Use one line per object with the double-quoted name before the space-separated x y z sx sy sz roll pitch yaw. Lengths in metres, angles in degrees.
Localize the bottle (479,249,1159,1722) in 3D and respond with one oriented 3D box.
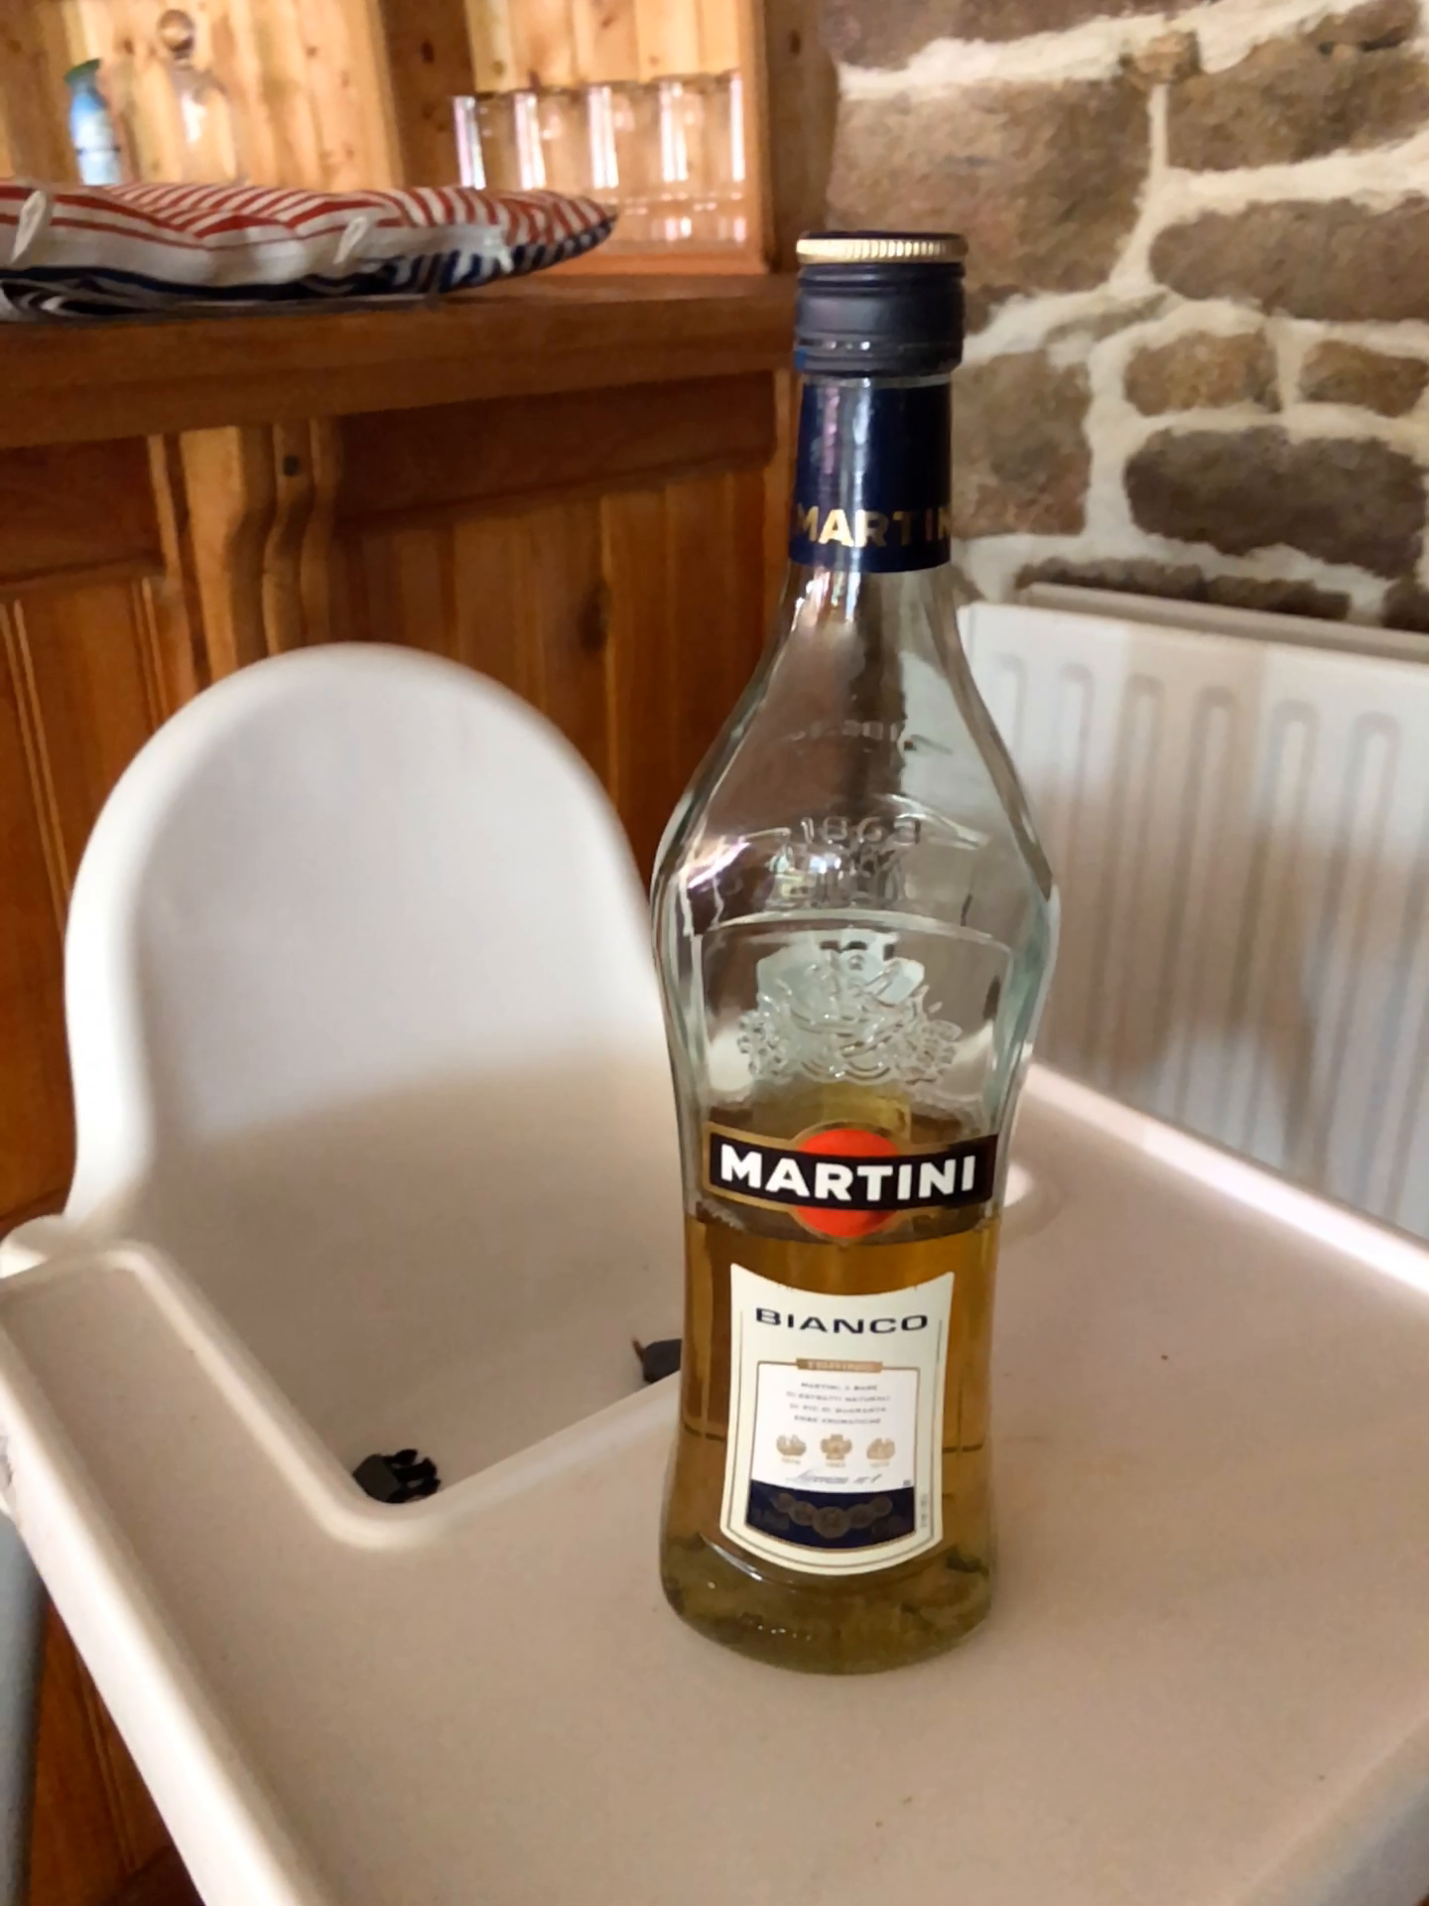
"bottle" 0.023 0.017 0.354 0.110 0.318 0.080 3 23 7
